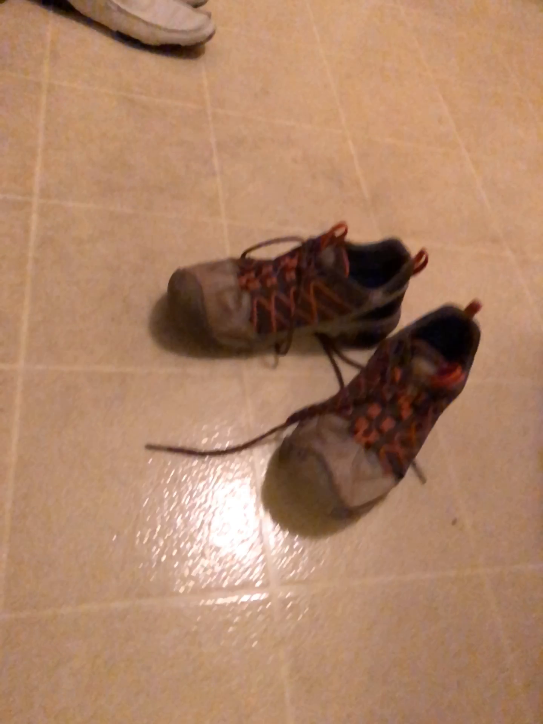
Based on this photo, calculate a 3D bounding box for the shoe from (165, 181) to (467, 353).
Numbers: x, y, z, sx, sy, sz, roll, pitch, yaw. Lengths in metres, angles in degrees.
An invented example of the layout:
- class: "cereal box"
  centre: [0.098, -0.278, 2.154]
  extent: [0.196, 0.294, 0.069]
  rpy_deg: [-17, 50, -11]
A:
- class: "shoe"
  centre: [0.043, -0.097, 0.668]
  extent: [0.293, 0.121, 0.127]
  rpy_deg: [-1, 59, -20]

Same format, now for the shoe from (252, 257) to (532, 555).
- class: "shoe"
  centre: [0.130, 0.035, 0.619]
  extent: [0.127, 0.121, 0.284]
  rpy_deg: [41, 54, 9]
